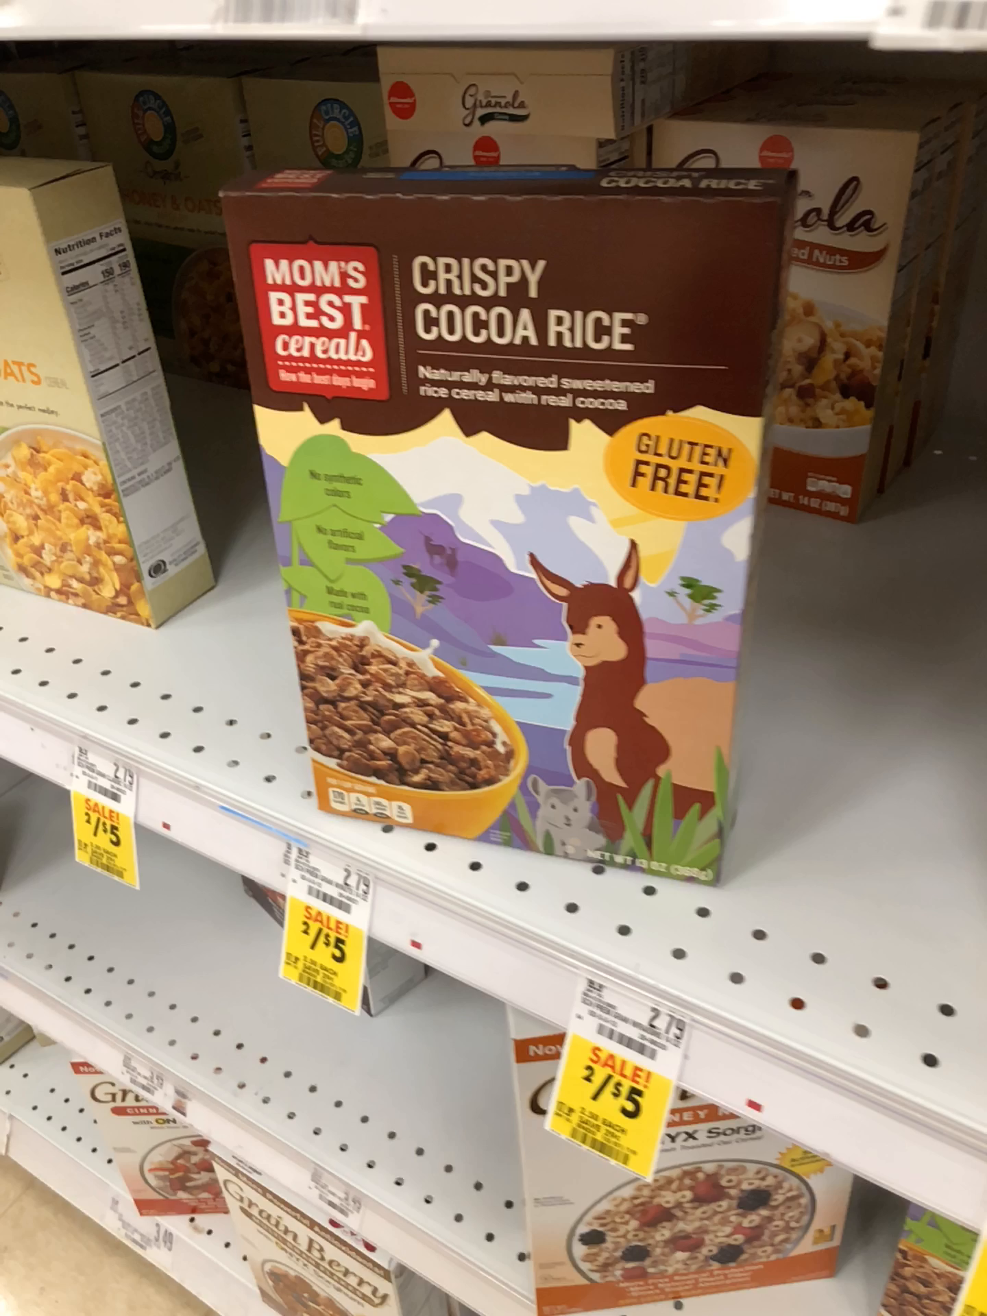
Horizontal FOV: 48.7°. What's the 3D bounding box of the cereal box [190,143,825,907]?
[{"bbox_3d":[0.012,-0.049,0.442,0.200,0.279,0.080,8,33,17],"label":"cereal box"}]
